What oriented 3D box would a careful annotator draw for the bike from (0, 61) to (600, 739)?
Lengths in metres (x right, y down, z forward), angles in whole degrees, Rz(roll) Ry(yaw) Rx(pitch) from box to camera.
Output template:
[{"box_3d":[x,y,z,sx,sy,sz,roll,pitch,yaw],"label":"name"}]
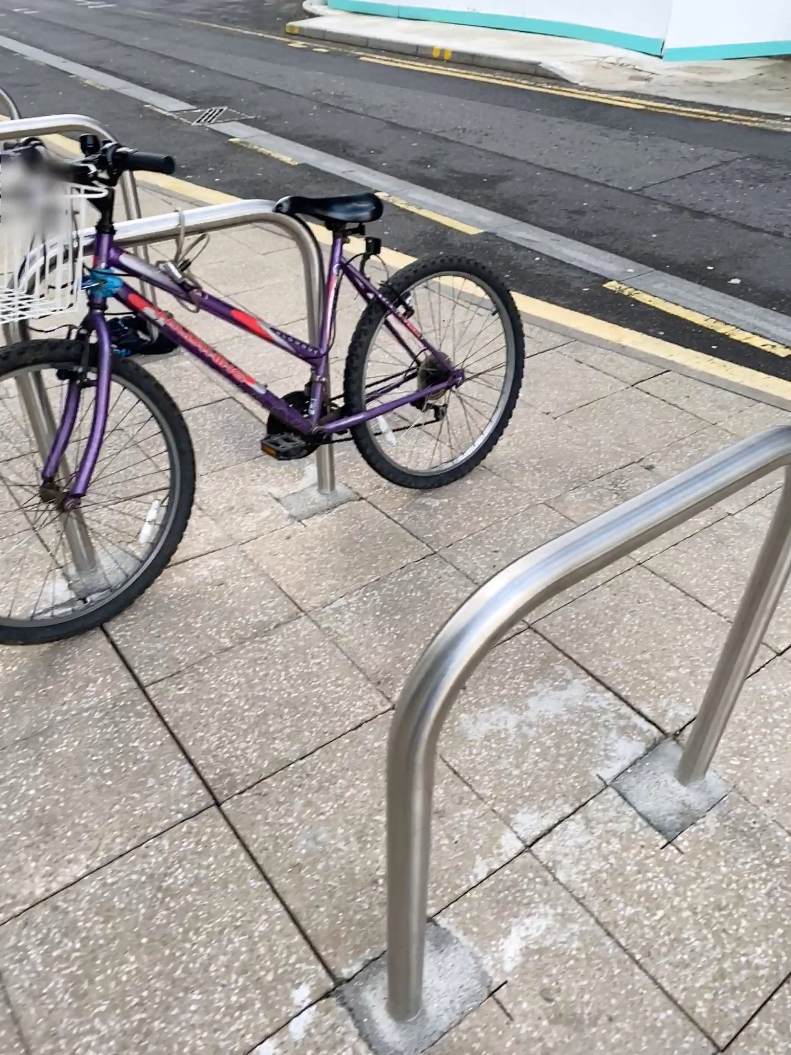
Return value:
[{"box_3d":[-0.348,-0.451,1.934,1.738,1.043,0.583,-26,44,-33],"label":"bike"}]
